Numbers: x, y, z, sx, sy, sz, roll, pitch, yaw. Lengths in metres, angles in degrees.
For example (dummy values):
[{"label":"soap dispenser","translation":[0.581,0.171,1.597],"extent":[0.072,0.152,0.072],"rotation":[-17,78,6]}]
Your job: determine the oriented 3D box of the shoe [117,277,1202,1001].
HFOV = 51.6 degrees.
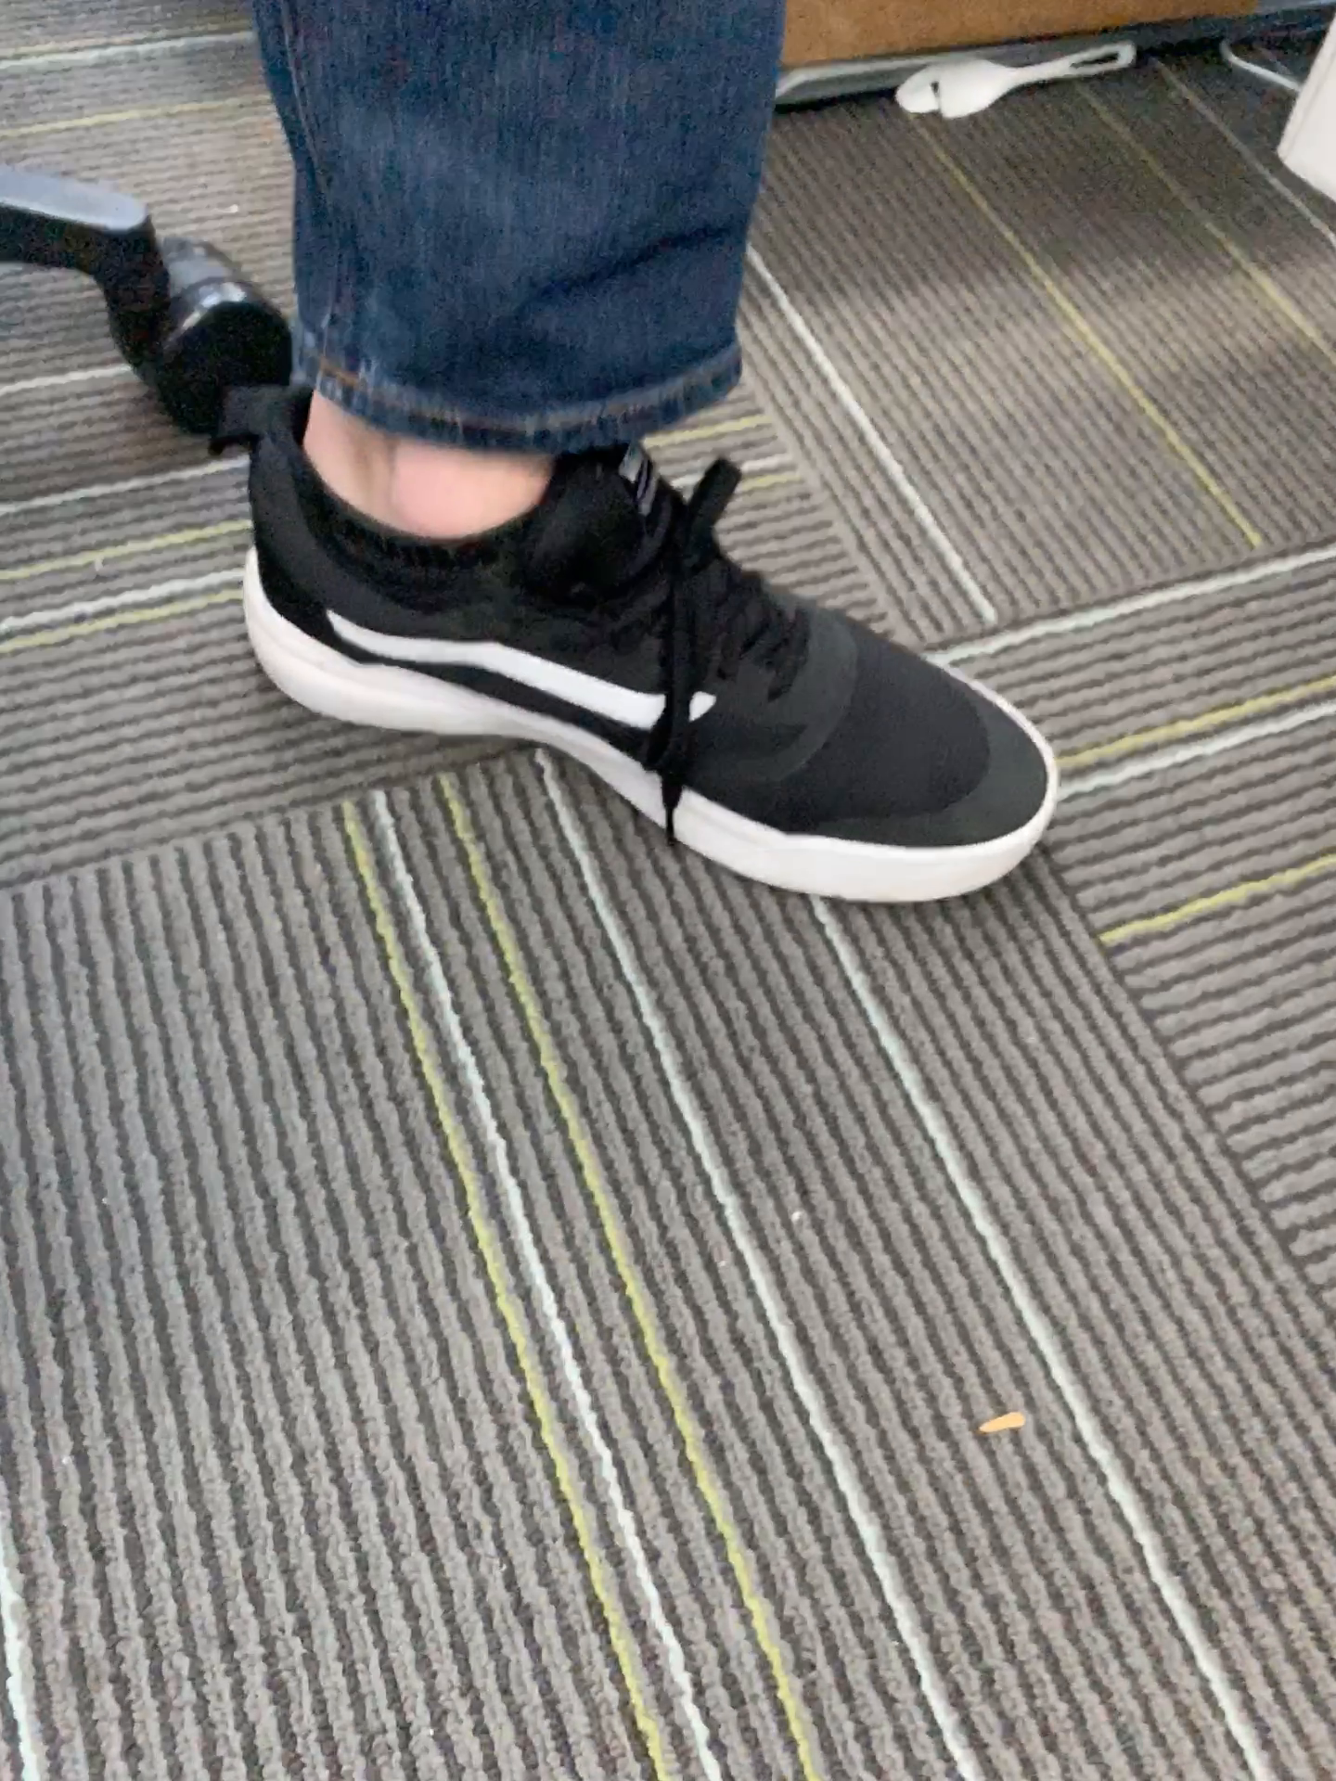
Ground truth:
[{"label":"shoe","translation":[-0.002,-0.088,0.481],"extent":[0.320,0.110,0.120],"rotation":[18,59,6]}]
